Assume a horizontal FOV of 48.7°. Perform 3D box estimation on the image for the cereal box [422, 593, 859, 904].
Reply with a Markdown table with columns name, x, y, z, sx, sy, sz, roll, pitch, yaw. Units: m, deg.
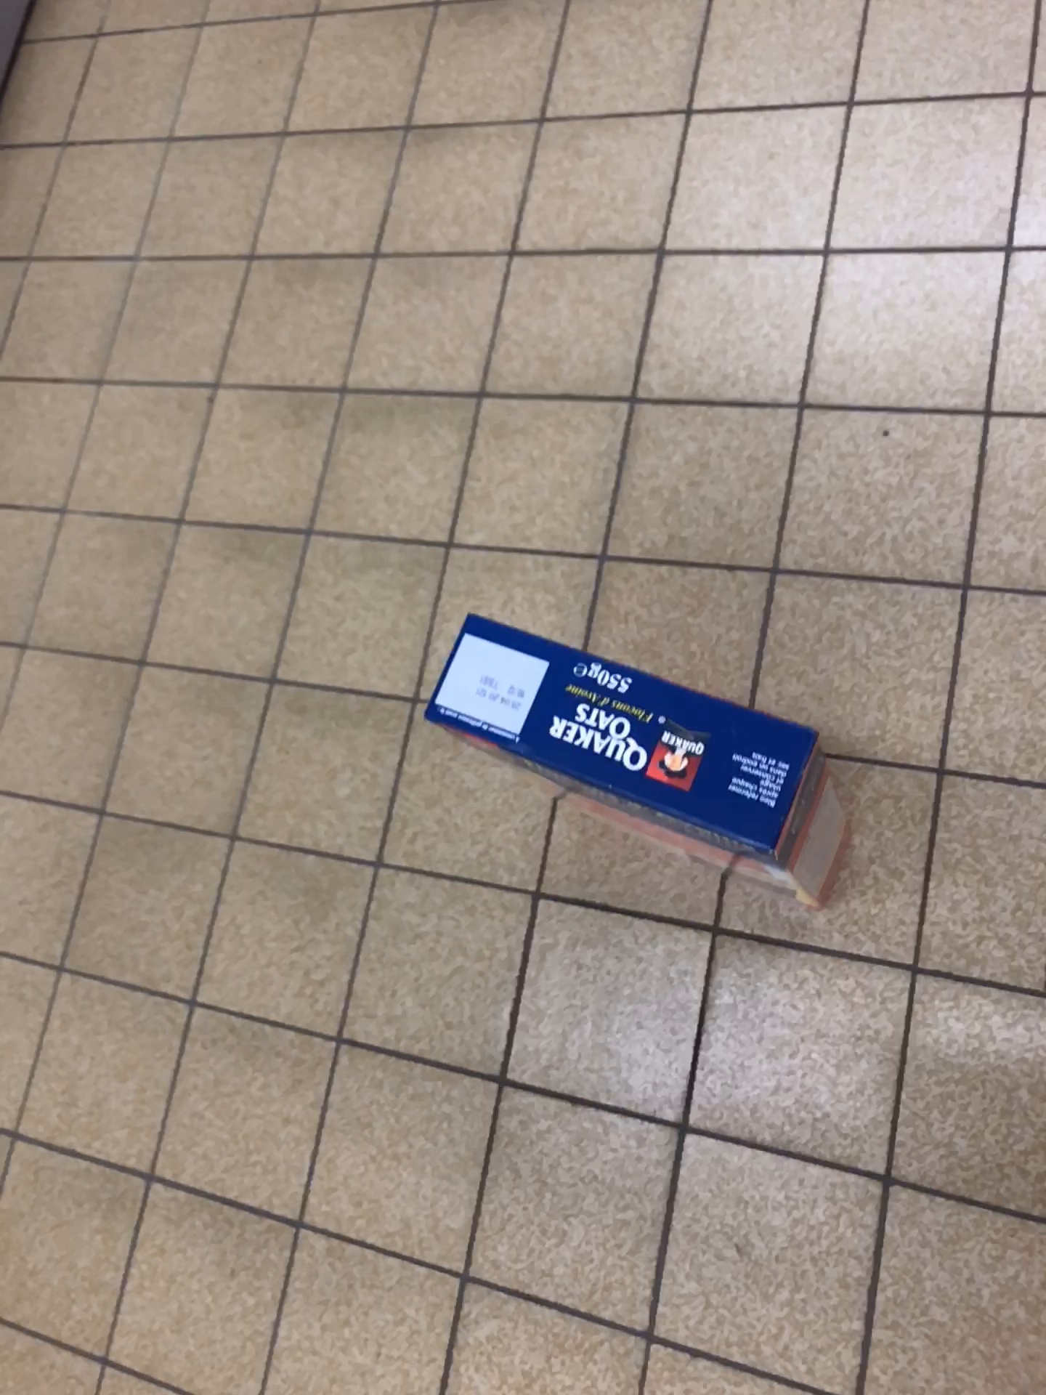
| name | x | y | z | sx | sy | sz | roll | pitch | yaw |
| --- | --- | --- | --- | --- | --- | --- | --- | --- | --- |
| cereal box | 0.068 | 0.033 | 0.519 | 0.140 | 0.230 | 0.050 | 20 | 83 | 22 |
